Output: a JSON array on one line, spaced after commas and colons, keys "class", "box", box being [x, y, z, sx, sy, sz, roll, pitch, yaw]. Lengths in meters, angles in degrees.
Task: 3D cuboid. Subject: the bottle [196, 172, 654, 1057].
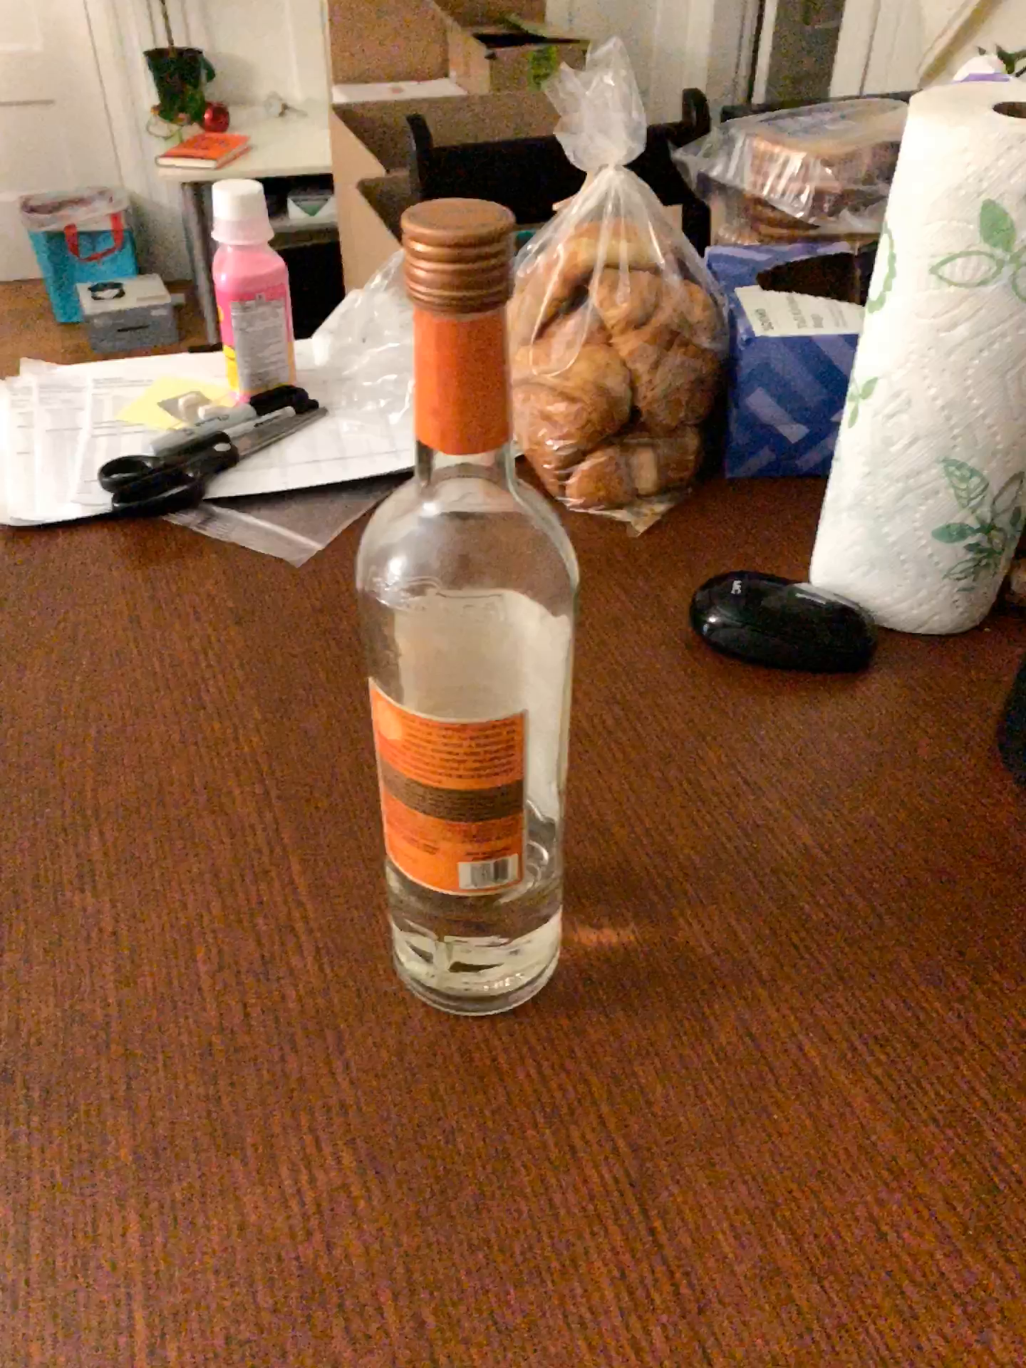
[{"class": "bottle", "box": [-0.021, -0.001, 0.365, 0.090, 0.298, 0.080, 16, 42, 17]}]
